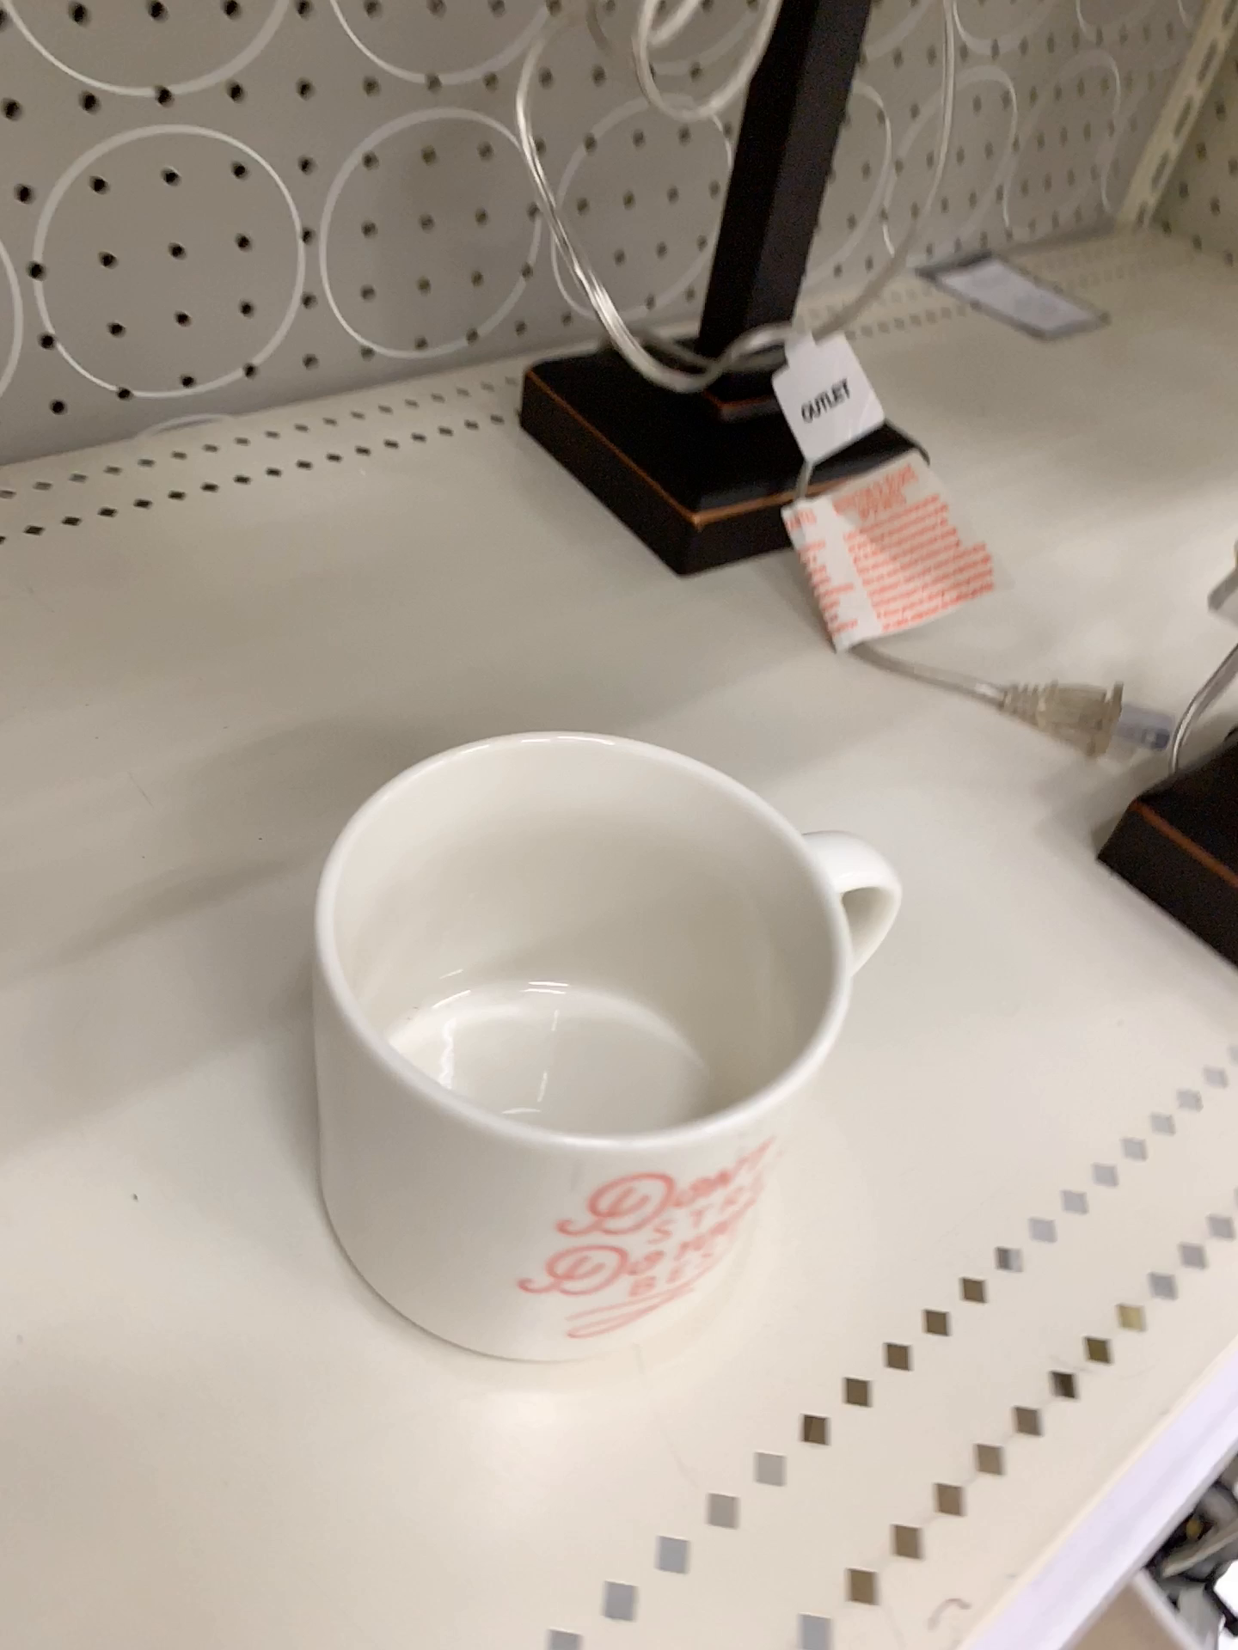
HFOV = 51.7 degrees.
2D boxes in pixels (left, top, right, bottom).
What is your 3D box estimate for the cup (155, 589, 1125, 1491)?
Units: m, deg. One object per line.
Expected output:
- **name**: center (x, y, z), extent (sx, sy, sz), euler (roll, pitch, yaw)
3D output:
- **cup**: center (0.002, 0.034, 0.266), extent (0.150, 0.090, 0.100), euler (-23, 55, -30)
